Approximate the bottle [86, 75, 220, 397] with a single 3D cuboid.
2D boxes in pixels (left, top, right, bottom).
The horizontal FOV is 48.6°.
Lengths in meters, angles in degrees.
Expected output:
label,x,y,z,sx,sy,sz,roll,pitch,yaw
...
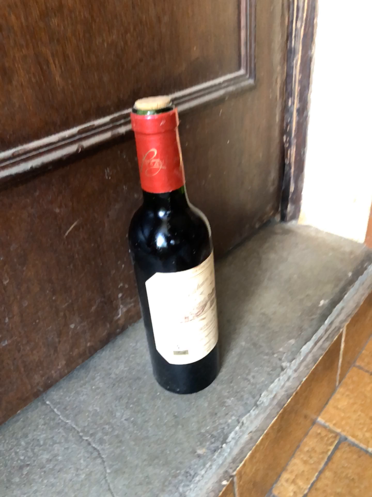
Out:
label,x,y,z,sx,sy,sz,roll,pitch,yaw
bottle,-0.011,0.004,0.314,0.060,0.239,0.070,0,33,9
